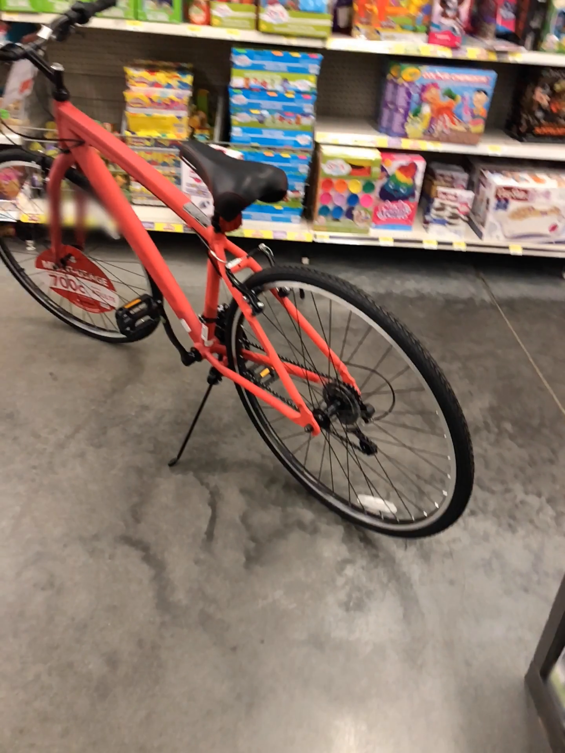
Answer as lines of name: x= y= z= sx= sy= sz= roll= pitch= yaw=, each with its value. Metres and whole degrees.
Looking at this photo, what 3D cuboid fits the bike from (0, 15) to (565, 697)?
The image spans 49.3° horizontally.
bike: x=-0.311 y=-0.256 z=1.520 sx=1.692 sy=1.000 sz=0.615 roll=26 pitch=40 yaw=31
